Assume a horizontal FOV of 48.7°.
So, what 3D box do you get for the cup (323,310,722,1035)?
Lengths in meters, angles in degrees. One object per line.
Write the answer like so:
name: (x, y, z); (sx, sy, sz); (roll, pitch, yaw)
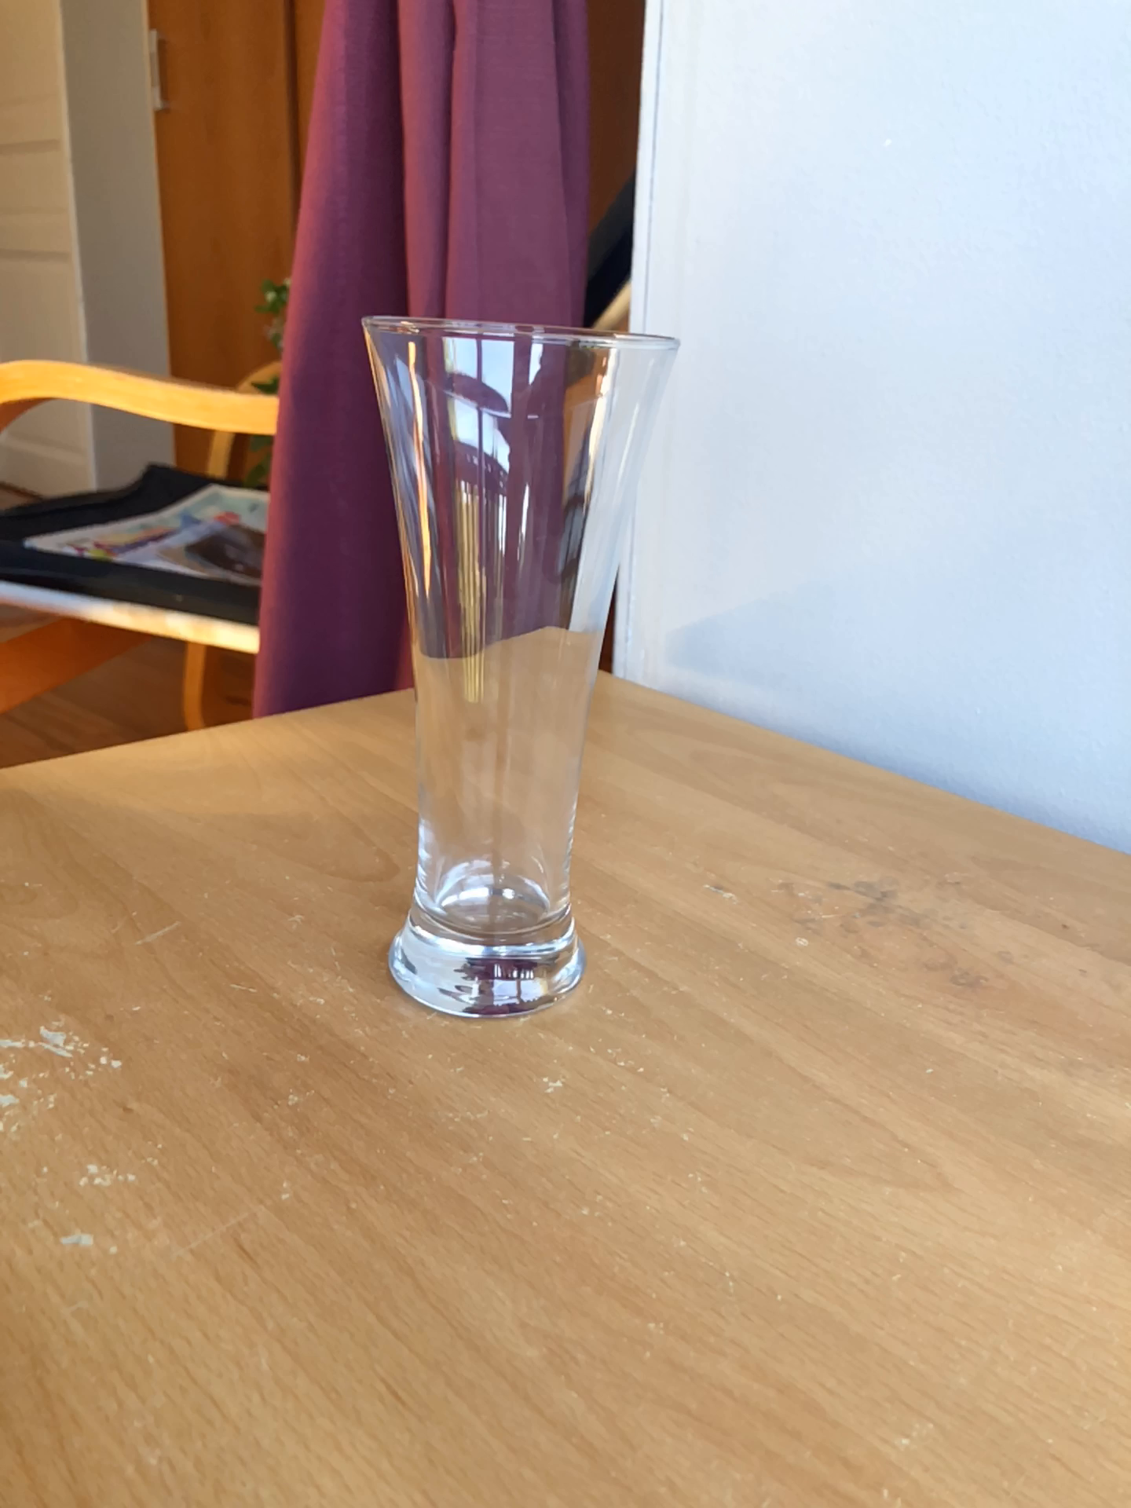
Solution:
cup: (-0.015, -0.022, 0.323); (0.082, 0.168, 0.077); (3, 20, -1)
